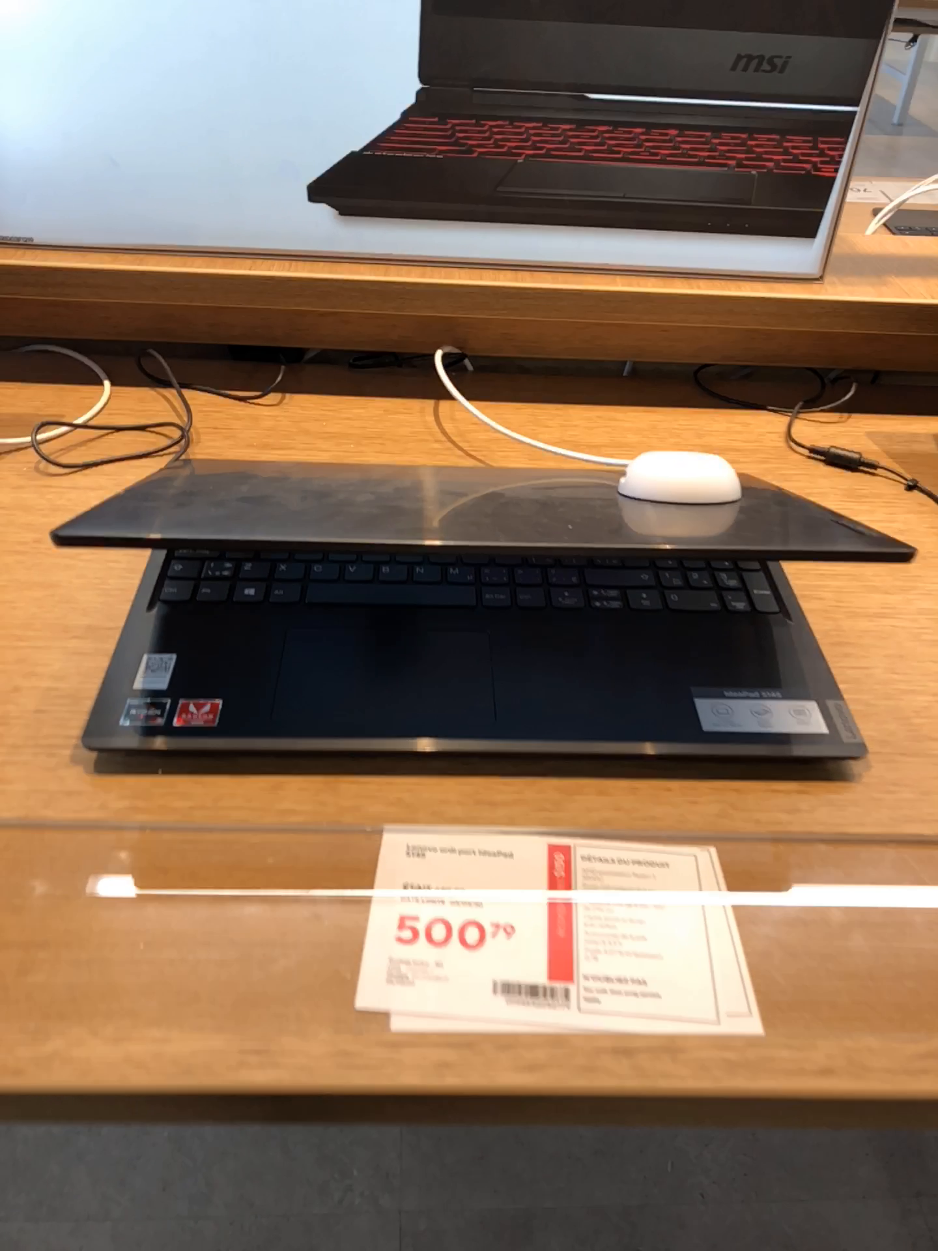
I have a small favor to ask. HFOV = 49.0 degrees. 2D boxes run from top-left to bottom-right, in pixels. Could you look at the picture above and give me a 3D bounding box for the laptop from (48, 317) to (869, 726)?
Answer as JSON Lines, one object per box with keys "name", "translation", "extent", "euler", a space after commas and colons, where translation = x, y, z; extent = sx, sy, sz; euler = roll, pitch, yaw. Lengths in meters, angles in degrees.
{"name": "laptop", "translation": [-0.001, -0.061, 0.523], "extent": [0.330, 0.083, 0.224], "euler": [2, 40, -6]}
